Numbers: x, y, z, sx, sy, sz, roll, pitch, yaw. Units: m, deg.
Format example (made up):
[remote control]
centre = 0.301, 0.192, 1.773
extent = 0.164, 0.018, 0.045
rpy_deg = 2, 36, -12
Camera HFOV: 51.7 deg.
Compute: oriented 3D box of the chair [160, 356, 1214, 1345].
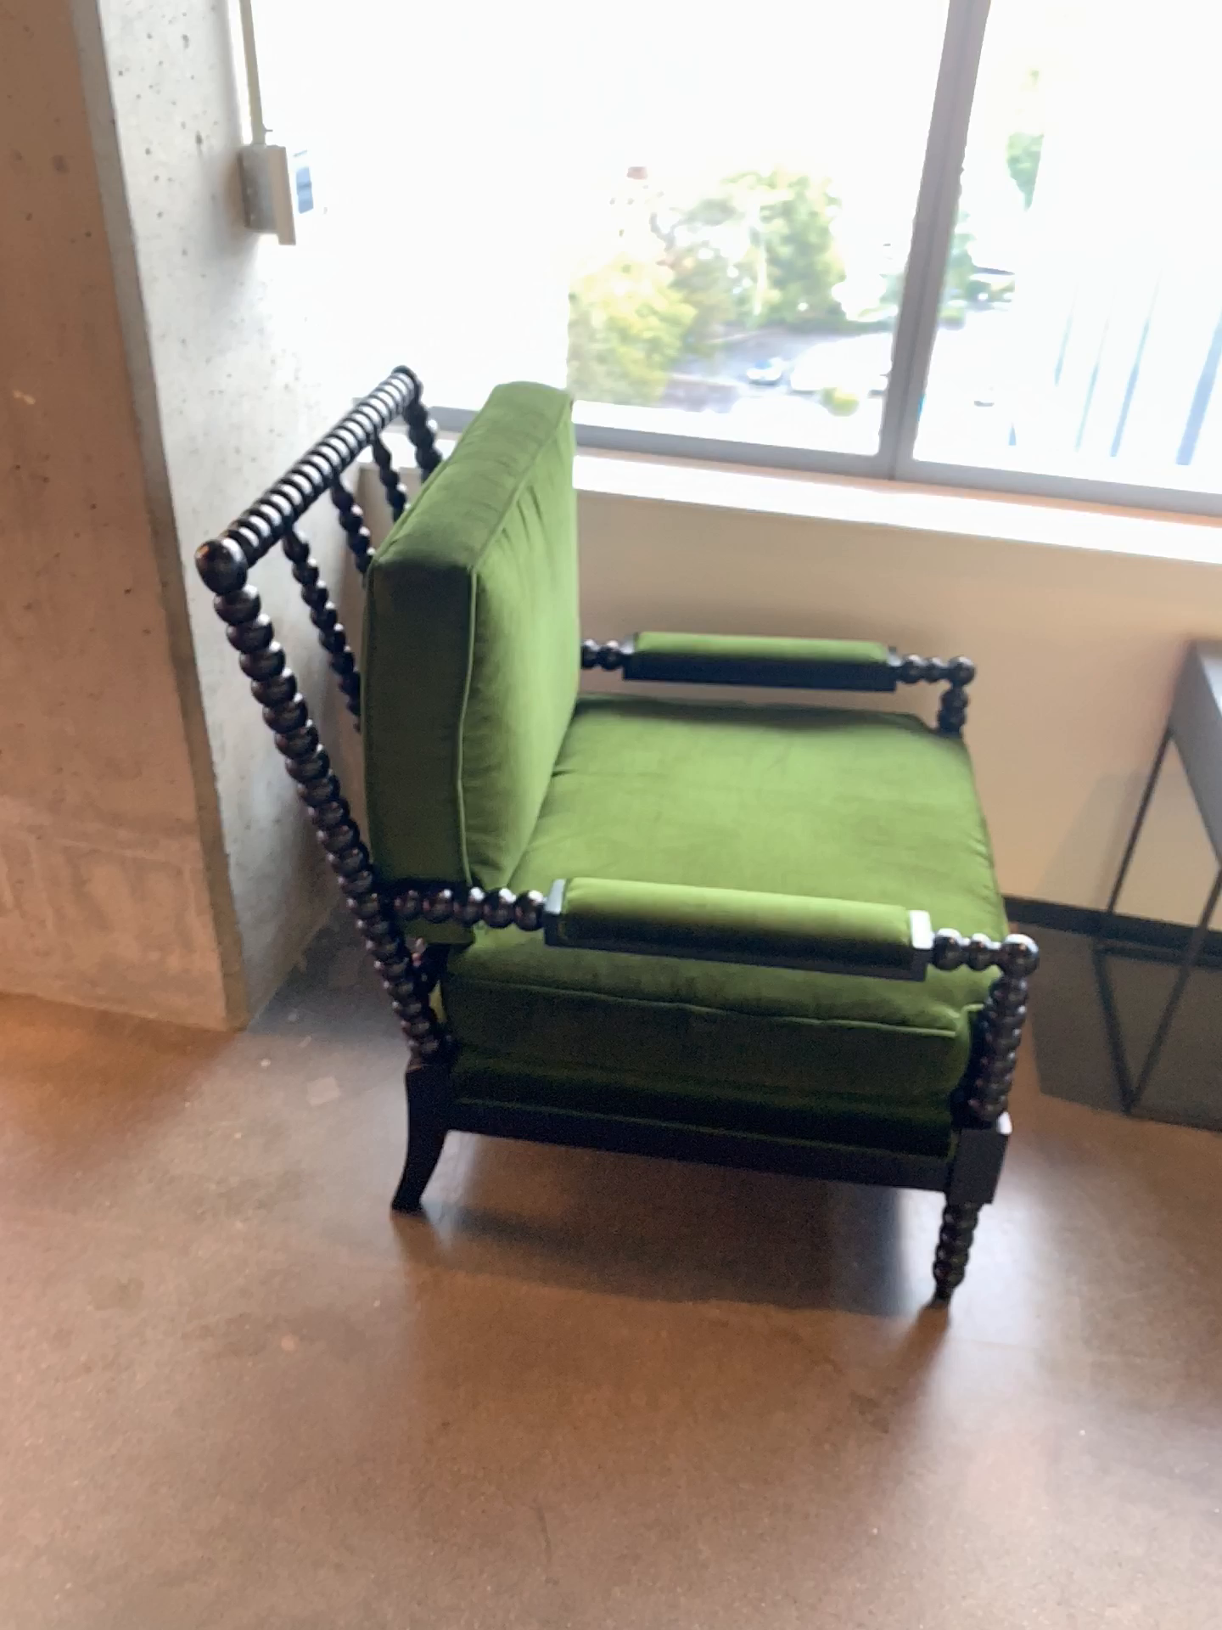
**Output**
[chair]
centre = 0.080, -0.002, 1.690
extent = 0.910, 0.924, 0.845
rpy_deg = 5, 34, 4
